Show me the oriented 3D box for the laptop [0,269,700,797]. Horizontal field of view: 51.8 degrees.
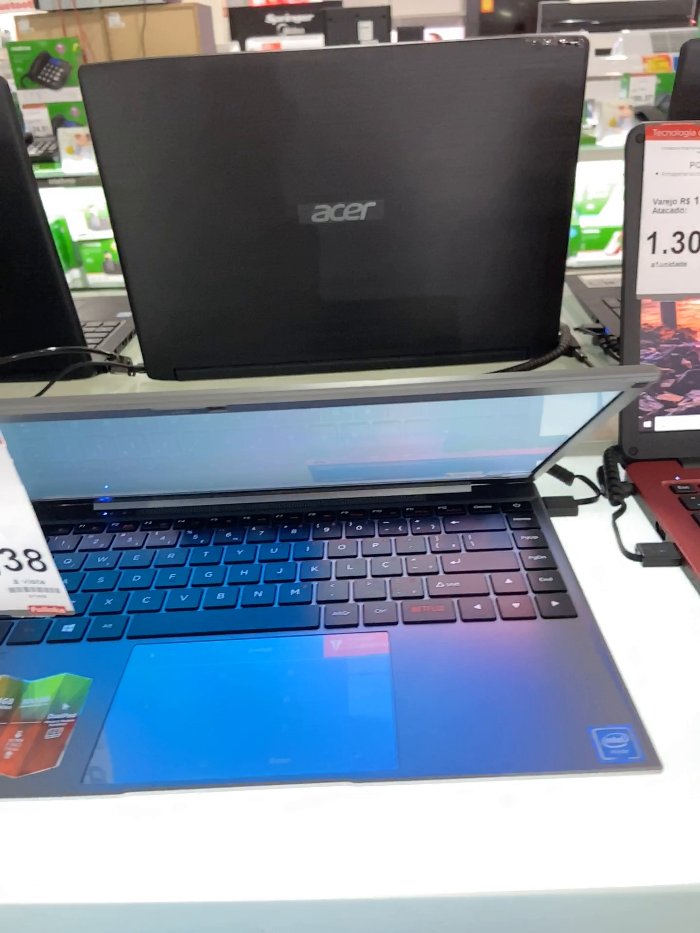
[{"bbox_3d":[-0.048,0.011,0.343,0.327,0.139,0.212,-3,29,1],"label":"laptop"}]
